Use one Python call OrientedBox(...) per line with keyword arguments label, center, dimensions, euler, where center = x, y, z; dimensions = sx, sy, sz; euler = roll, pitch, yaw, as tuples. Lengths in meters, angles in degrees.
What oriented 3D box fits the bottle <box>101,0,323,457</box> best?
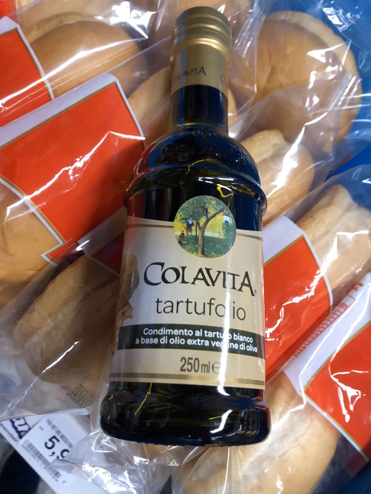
OrientedBox(label="bottle", center=(0.009, -0.028, 0.186), dimensions=(0.070, 0.060, 0.210), euler=(4, 74, -7))
